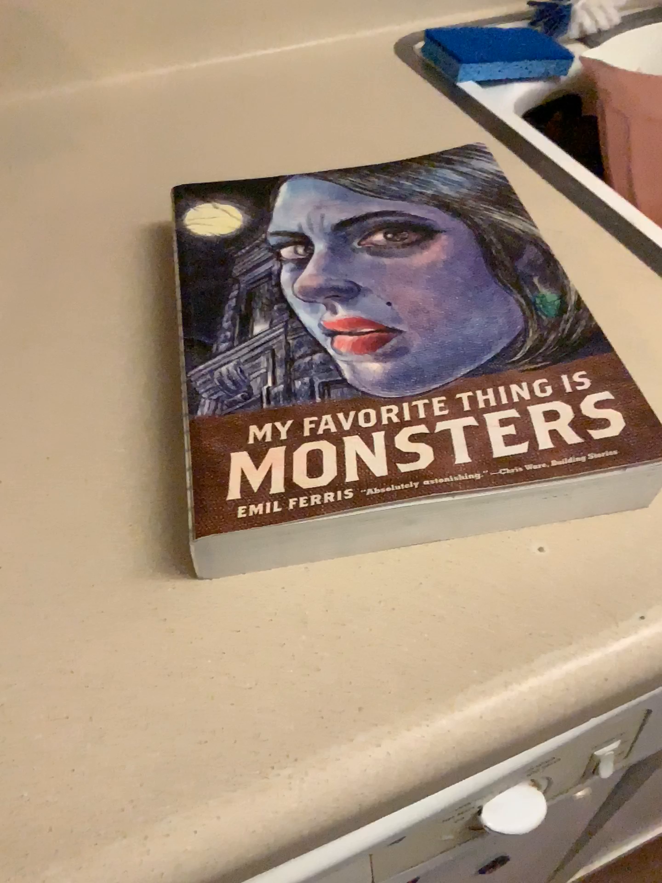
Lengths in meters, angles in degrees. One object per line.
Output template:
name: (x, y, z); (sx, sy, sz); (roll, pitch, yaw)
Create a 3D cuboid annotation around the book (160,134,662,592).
book: (0.020, -0.067, 0.381); (0.200, 0.040, 0.270); (-9, 49, -6)
